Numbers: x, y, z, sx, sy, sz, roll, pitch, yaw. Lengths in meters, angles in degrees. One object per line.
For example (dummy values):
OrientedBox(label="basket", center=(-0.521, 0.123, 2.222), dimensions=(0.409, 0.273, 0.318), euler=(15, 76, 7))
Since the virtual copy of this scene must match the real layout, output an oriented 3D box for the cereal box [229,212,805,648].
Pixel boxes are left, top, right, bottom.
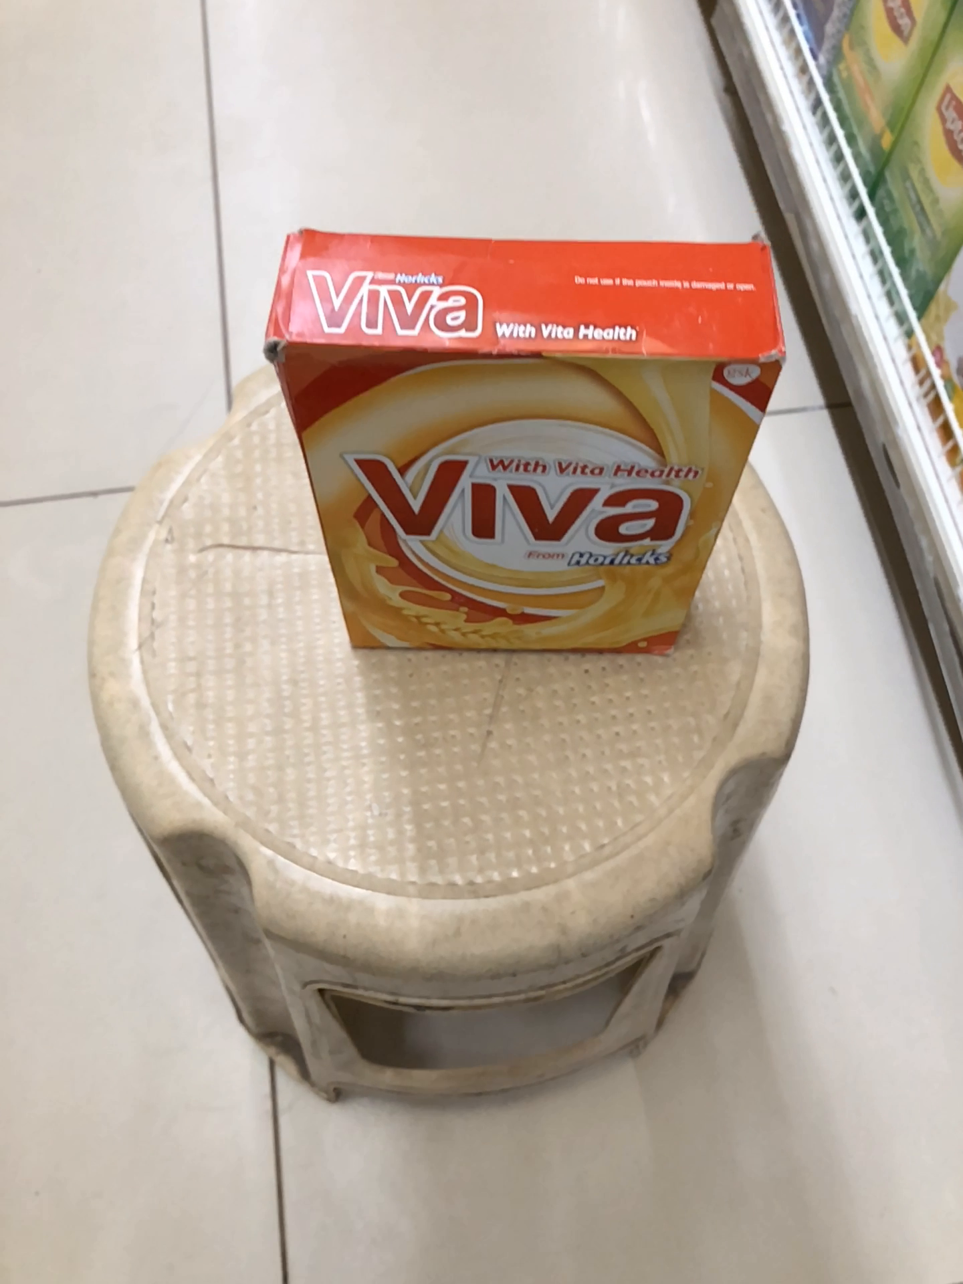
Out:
OrientedBox(label="cereal box", center=(0.010, -0.063, 0.398), dimensions=(0.160, 0.199, 0.050), euler=(1, 66, 0))
